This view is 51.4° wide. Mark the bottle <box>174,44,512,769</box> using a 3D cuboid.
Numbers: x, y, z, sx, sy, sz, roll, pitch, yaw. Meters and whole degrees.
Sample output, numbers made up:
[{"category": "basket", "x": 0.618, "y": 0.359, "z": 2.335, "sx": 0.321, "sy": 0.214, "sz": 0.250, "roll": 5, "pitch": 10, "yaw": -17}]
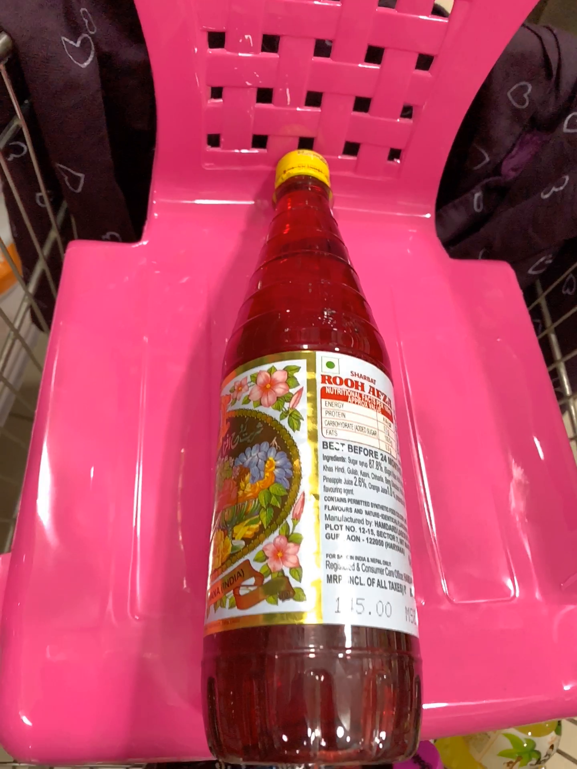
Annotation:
[{"category": "bottle", "x": 0.015, "y": 0.000, "z": 0.229, "sx": 0.080, "sy": 0.060, "sz": 0.260, "roll": 11, "pitch": 64, "yaw": -22}]
